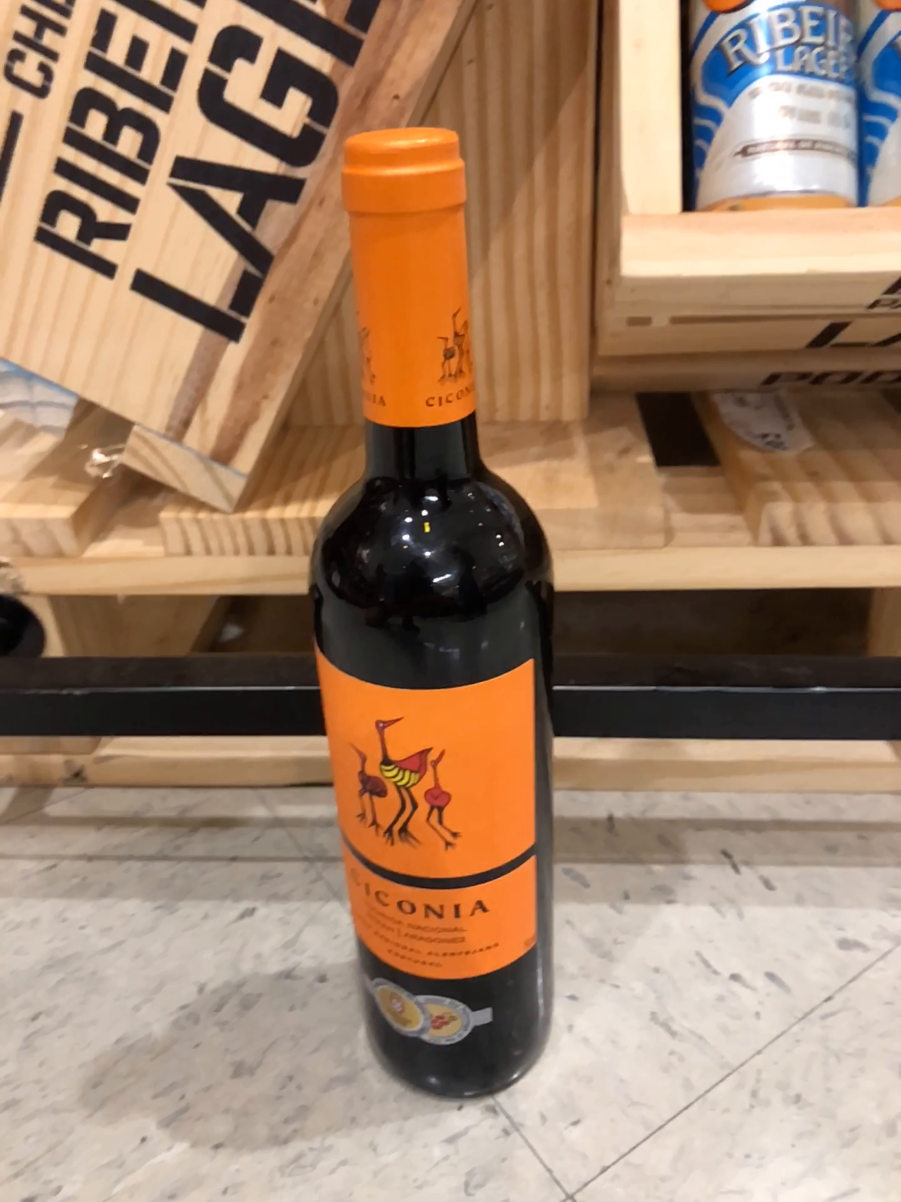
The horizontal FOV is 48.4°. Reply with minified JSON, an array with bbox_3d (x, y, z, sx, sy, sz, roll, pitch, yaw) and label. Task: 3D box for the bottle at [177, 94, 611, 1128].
[{"bbox_3d":[-0.003,0.024,0.311,0.080,0.318,0.070,8,32,18],"label":"bottle"}]
